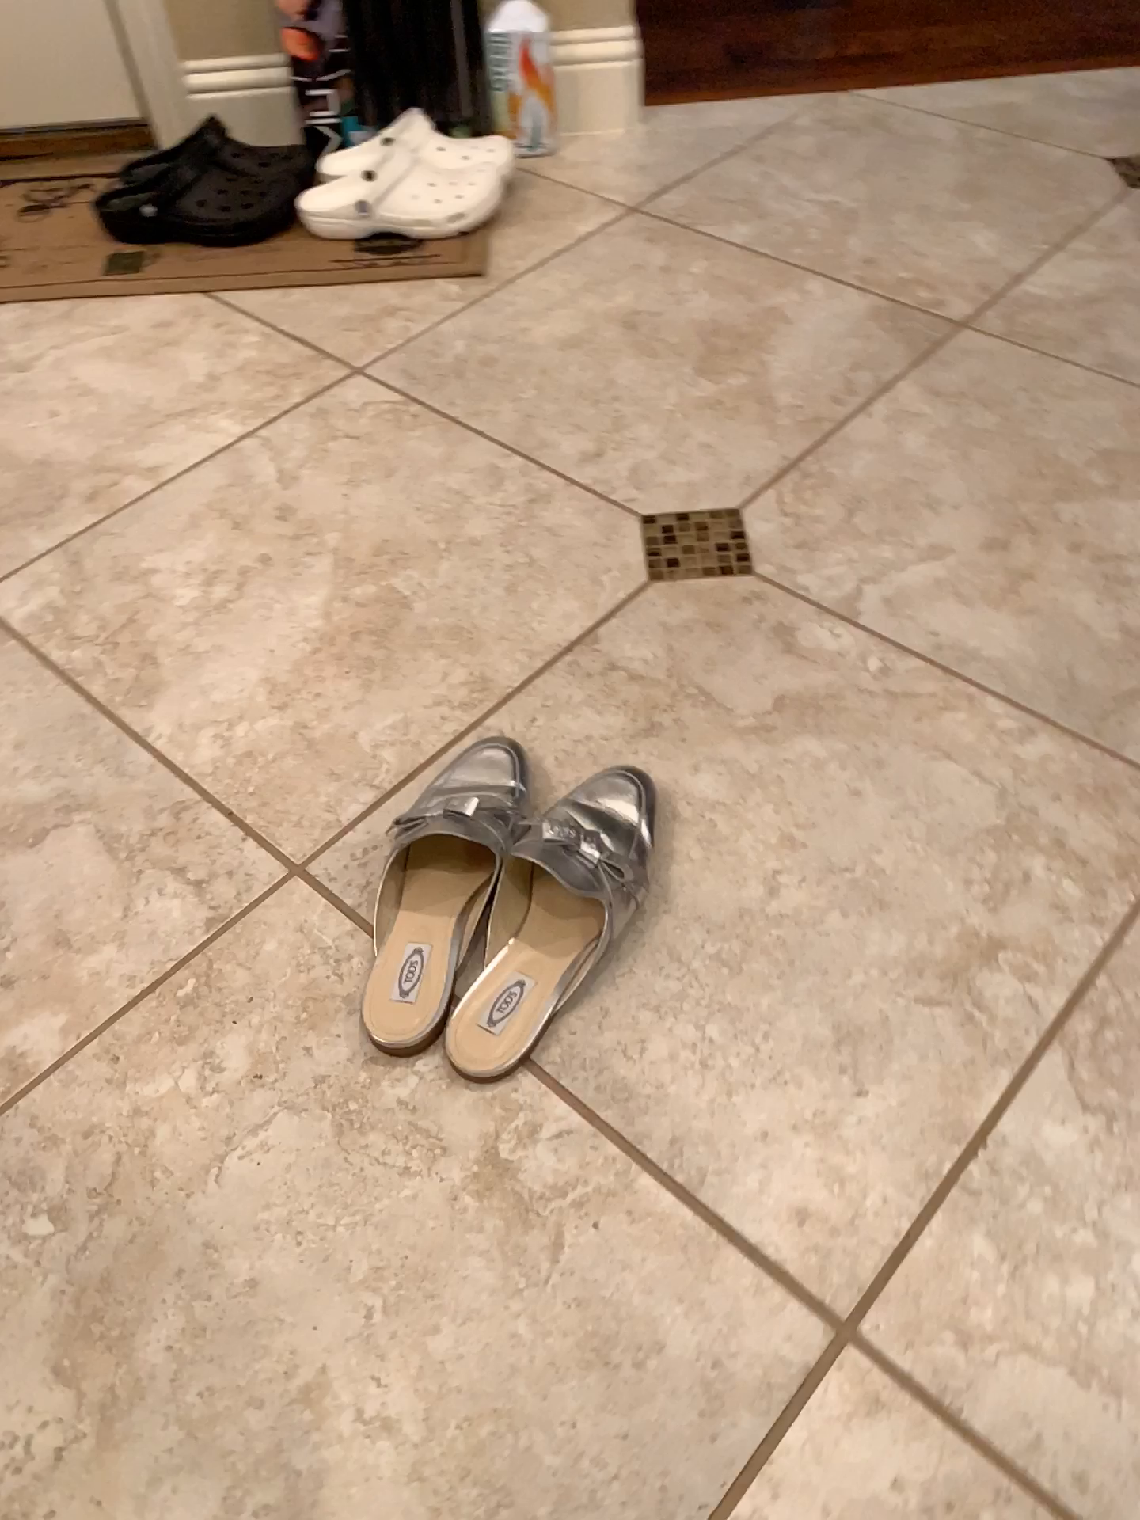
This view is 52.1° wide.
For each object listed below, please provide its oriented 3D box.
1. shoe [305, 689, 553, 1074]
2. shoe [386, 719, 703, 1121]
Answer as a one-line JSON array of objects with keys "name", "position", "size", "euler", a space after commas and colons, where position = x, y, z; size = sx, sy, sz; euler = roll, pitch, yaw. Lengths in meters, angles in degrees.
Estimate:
[{"name": "shoe", "position": [-0.093, 0.079, 0.866], "size": [0.091, 0.077, 0.281], "euler": [8, 50, 11]}, {"name": "shoe", "position": [-0.008, 0.105, 0.844], "size": [0.102, 0.077, 0.278], "euler": [20, 53, 20]}]
